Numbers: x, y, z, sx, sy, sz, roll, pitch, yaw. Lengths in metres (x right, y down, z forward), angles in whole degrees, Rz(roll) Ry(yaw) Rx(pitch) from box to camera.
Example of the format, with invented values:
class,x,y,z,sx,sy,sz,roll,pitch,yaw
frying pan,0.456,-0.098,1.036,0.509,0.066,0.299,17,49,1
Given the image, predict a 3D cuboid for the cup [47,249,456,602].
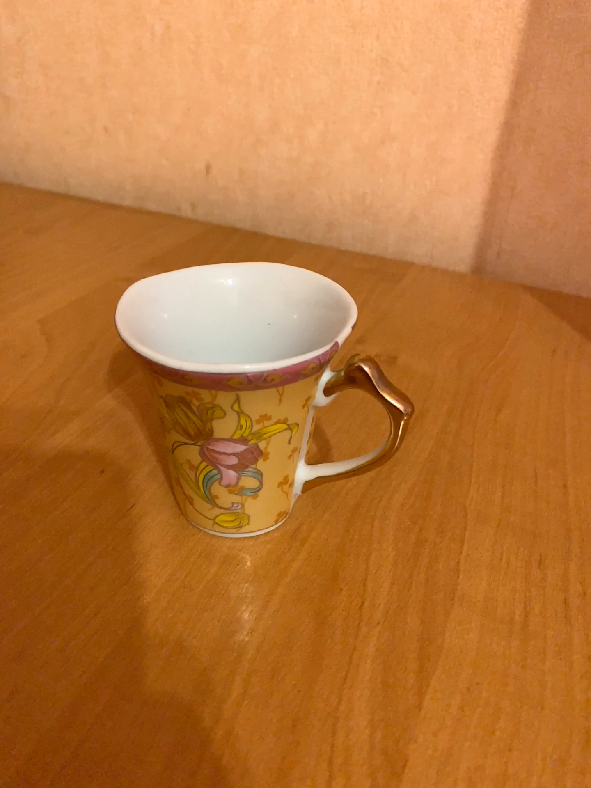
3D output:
class,x,y,z,sx,sy,sz,roll,pitch,yaw
cup,-0.006,0.003,0.184,0.094,0.061,0.072,9,32,8
